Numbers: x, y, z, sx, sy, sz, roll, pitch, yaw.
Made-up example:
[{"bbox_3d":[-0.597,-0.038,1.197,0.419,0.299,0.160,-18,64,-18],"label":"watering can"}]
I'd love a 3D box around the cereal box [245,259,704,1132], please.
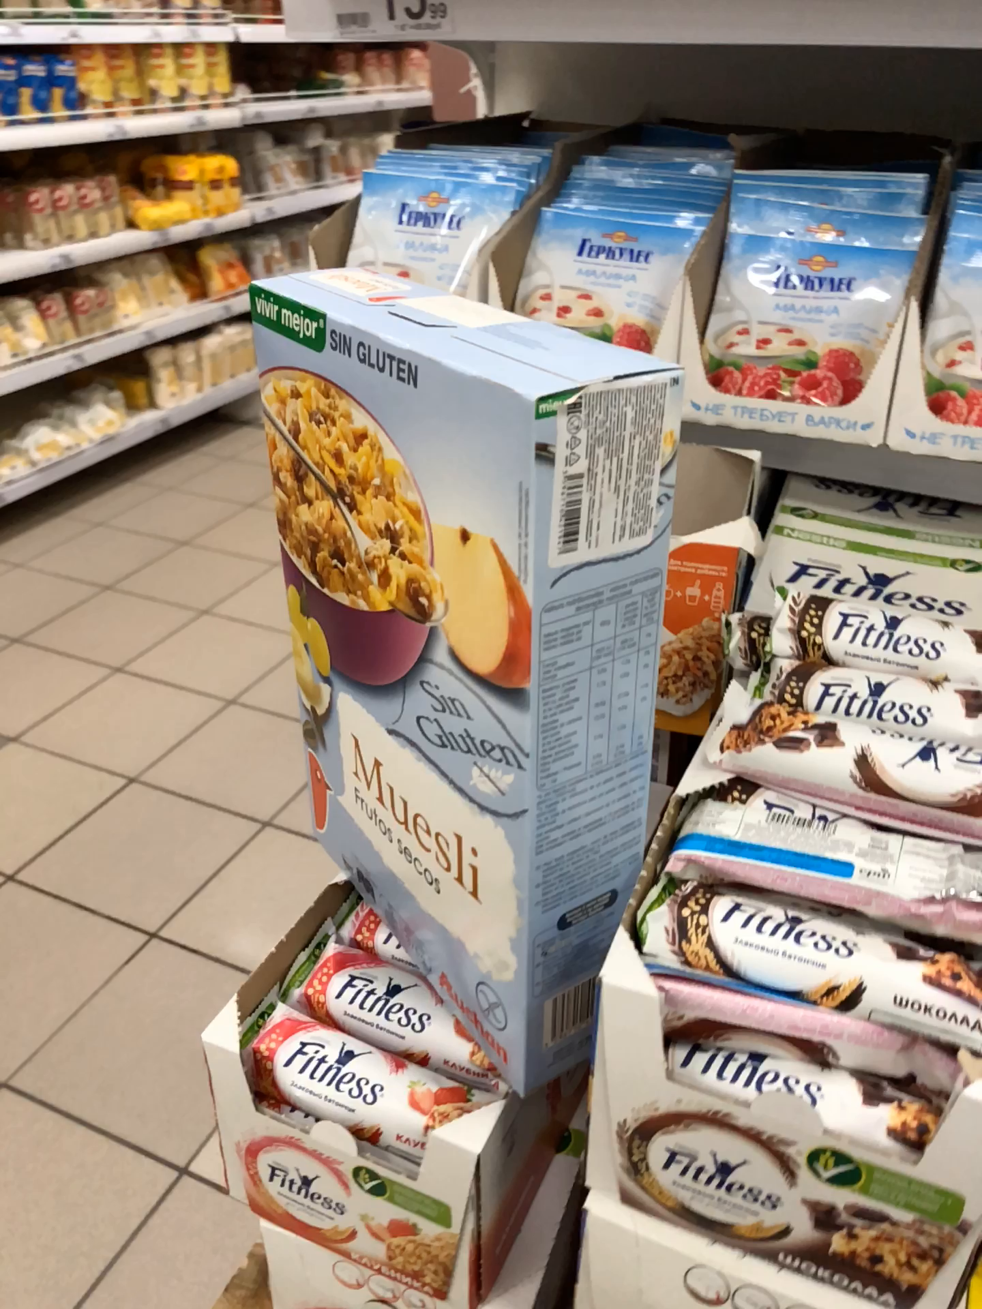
[{"bbox_3d":[-0.019,0.009,0.436,0.060,0.288,0.201,-17,33,-28],"label":"cereal box"}]
